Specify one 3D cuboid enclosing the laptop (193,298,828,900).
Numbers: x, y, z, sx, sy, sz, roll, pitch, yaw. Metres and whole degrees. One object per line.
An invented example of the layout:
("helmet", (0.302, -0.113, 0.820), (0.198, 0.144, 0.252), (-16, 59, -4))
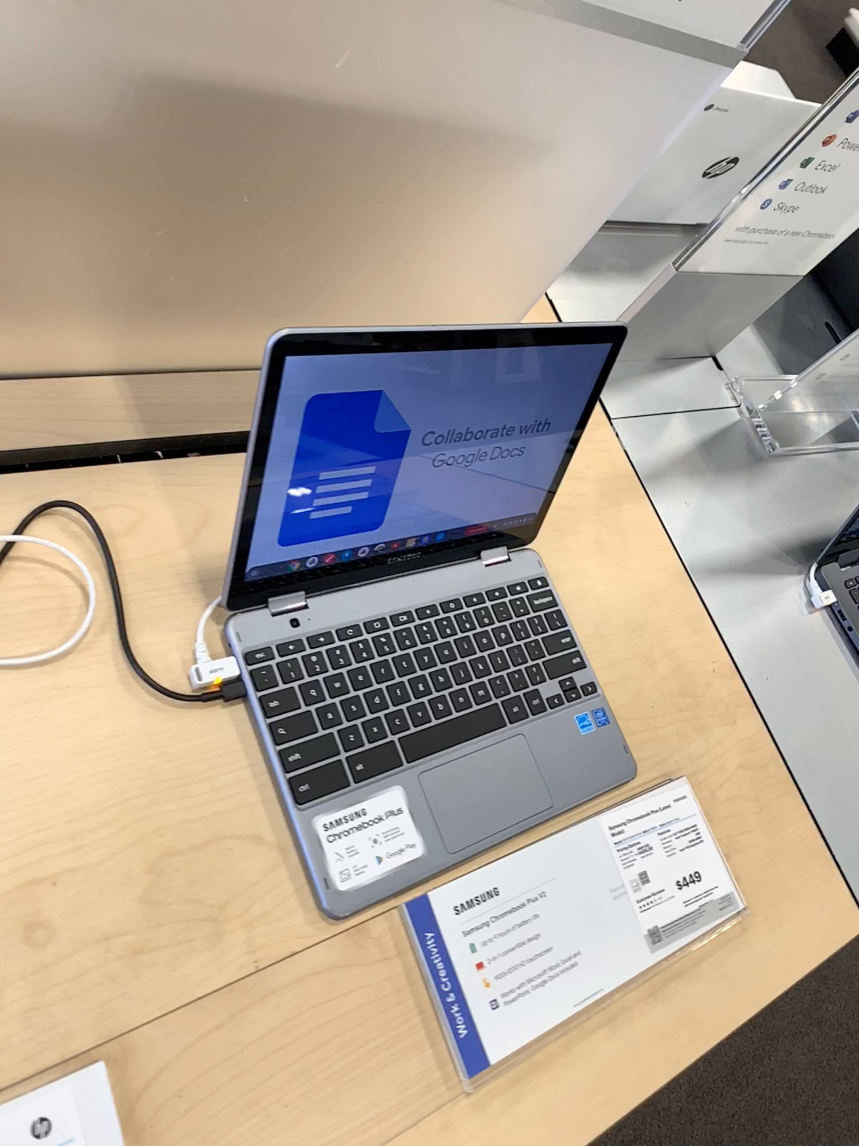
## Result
("laptop", (0.045, 0.003, 0.572), (0.274, 0.181, 0.288), (-13, 73, -35))
